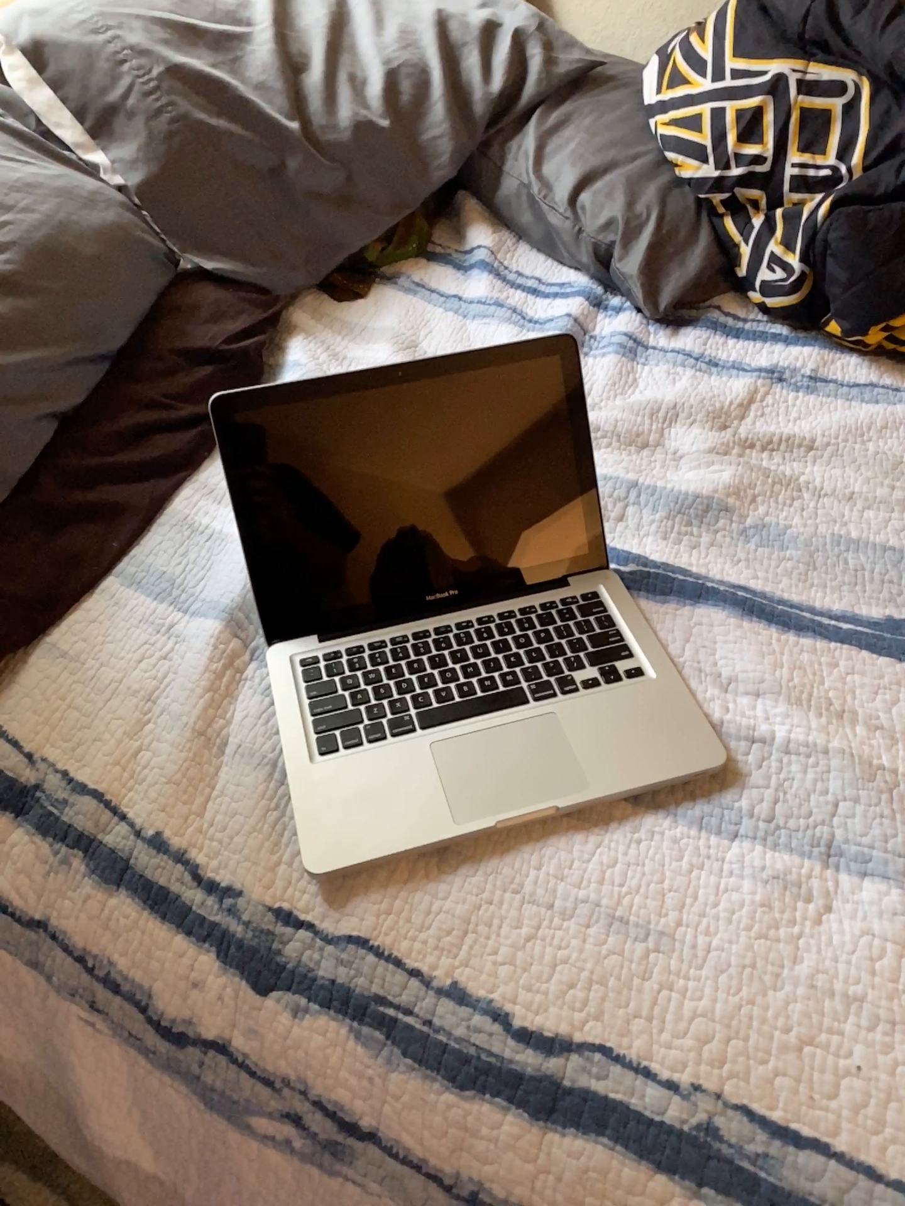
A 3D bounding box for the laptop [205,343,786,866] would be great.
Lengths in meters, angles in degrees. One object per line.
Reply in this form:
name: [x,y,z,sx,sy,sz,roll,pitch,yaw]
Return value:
laptop: [0.003,-0.023,0.719,0.319,0.169,0.348,-13,45,-9]
